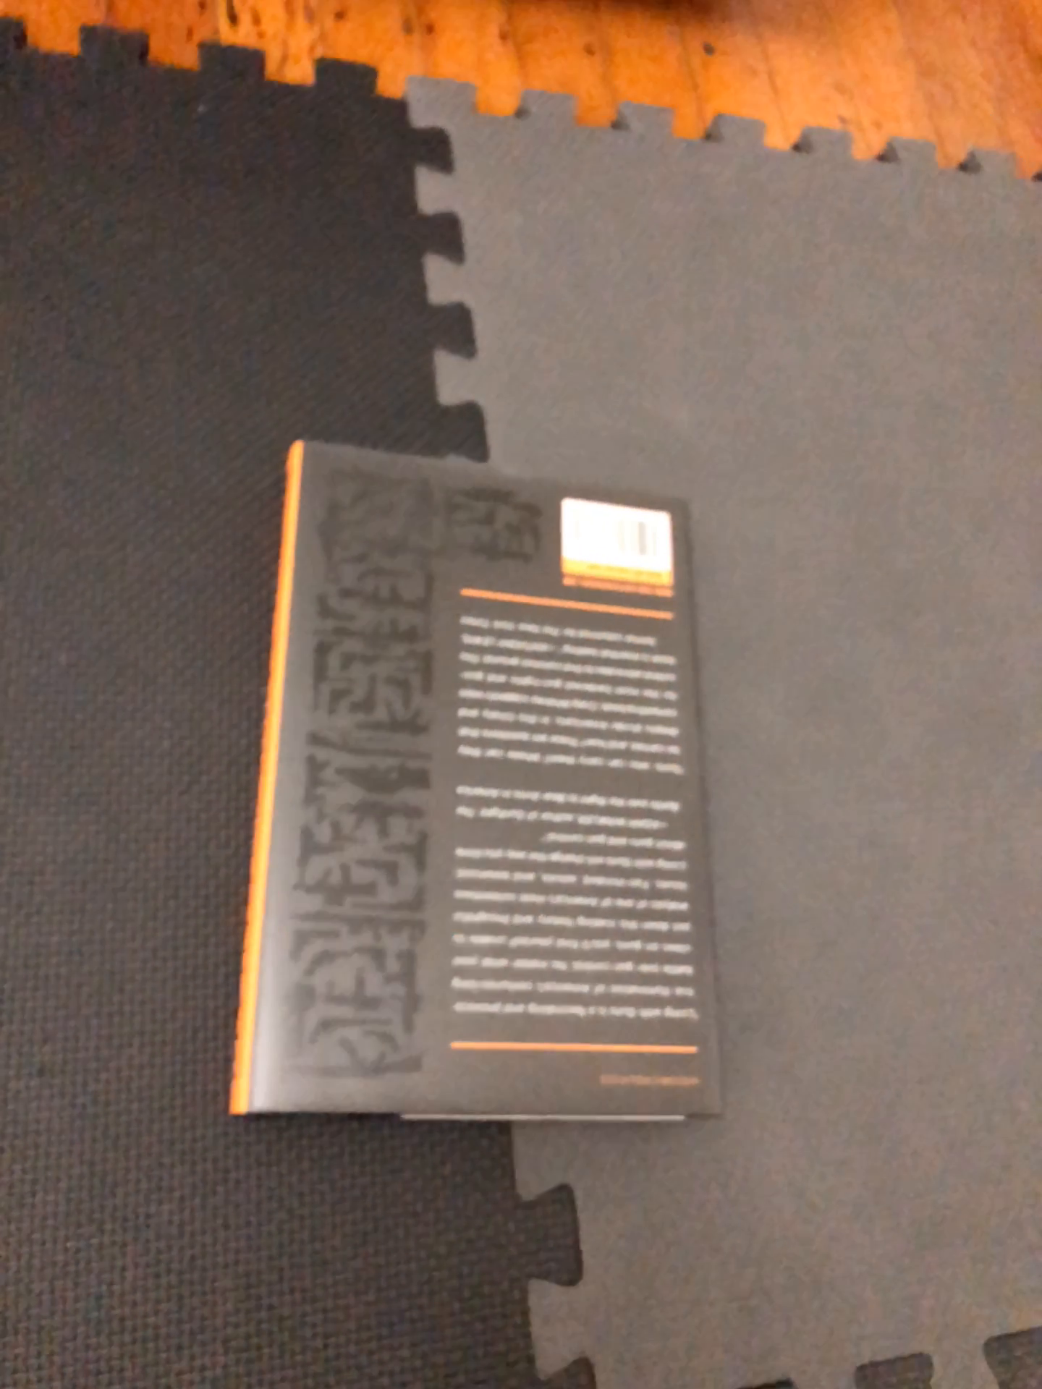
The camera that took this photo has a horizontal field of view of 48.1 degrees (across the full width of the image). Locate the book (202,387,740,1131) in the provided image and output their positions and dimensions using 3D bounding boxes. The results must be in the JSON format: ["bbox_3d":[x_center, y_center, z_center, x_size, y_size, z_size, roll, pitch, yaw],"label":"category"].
[{"bbox_3d":[-0.014,0.019,0.429,0.170,0.040,0.261,6,67,-13],"label":"book"}]
